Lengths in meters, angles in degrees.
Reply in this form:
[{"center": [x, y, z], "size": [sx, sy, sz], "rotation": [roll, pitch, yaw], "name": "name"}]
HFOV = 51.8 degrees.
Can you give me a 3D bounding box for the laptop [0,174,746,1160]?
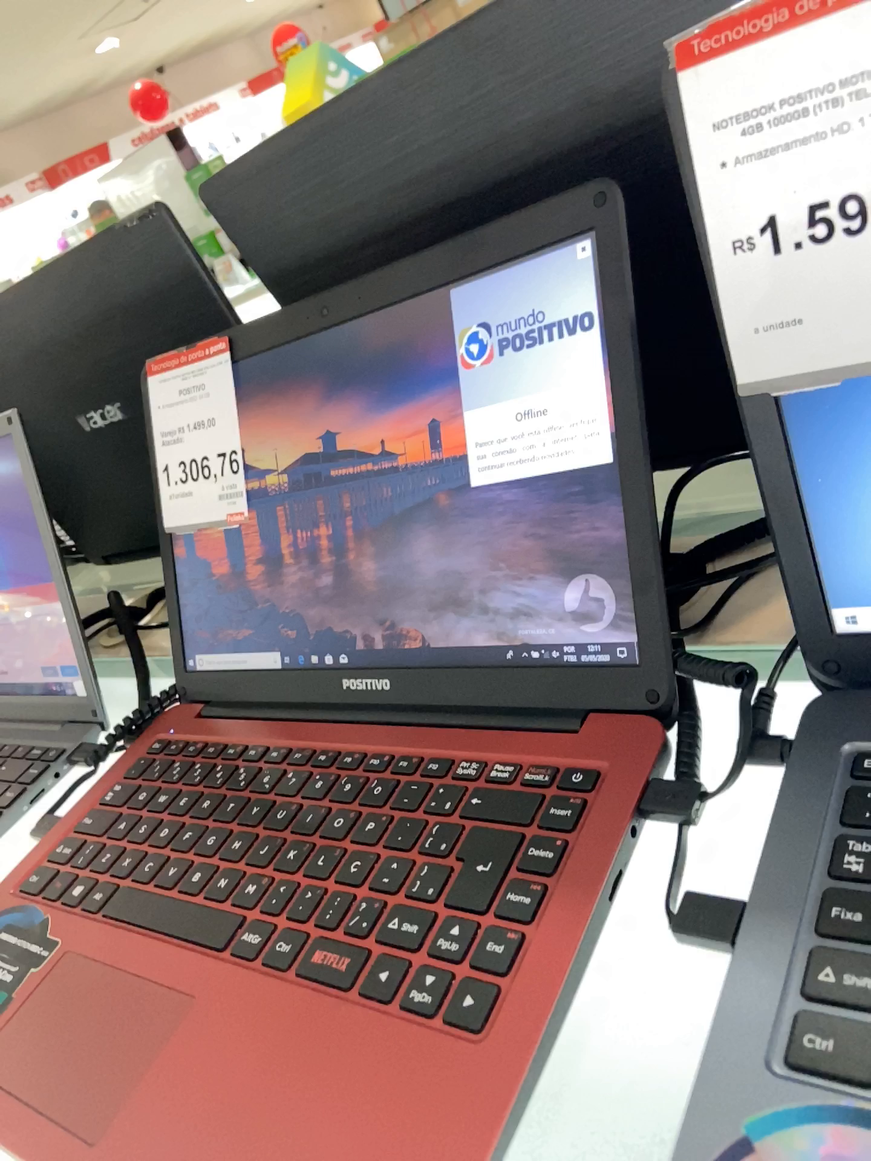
[{"center": [-0.098, 0.027, 0.369], "size": [0.321, 0.167, 0.334], "rotation": [-6, 33, 40], "name": "laptop"}]
